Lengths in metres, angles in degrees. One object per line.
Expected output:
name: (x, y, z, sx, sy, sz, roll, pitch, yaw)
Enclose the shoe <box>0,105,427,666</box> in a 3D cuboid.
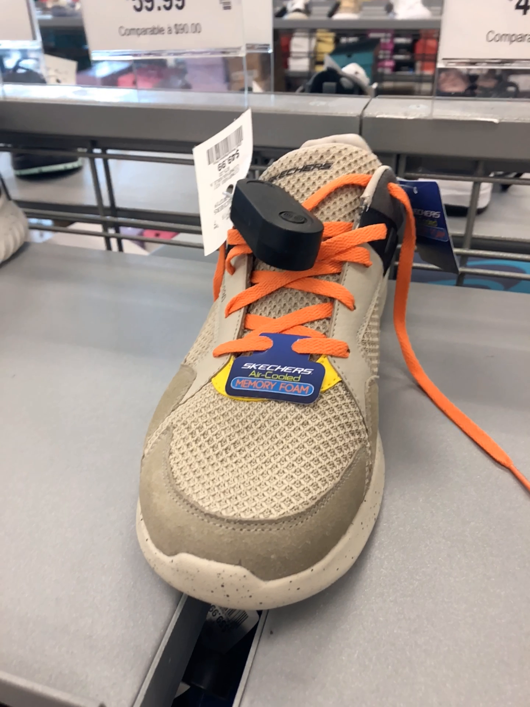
shoe: (0.009, -0.026, 0.293, 0.125, 0.109, 0.282, 6, 39, 11)
